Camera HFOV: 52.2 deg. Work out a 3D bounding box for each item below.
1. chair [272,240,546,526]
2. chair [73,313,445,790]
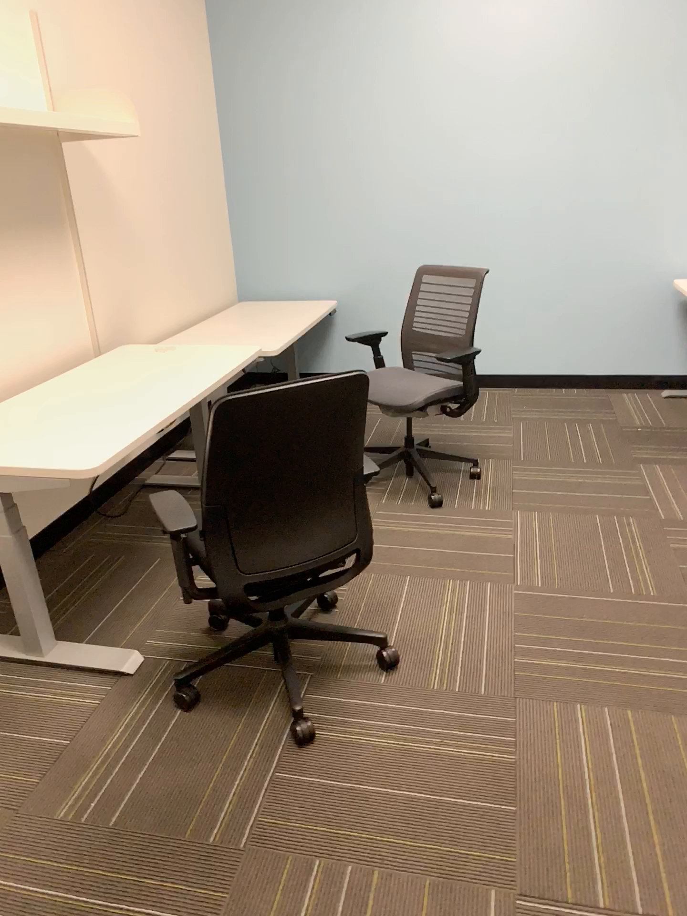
[{"bbox_3d":[0.277,-0.412,3.161,0.770,0.995,0.894,-17,25,-31],"label":"chair"},{"bbox_3d":[-0.231,0.159,1.966,0.680,0.935,0.774,-16,25,-29],"label":"chair"}]
